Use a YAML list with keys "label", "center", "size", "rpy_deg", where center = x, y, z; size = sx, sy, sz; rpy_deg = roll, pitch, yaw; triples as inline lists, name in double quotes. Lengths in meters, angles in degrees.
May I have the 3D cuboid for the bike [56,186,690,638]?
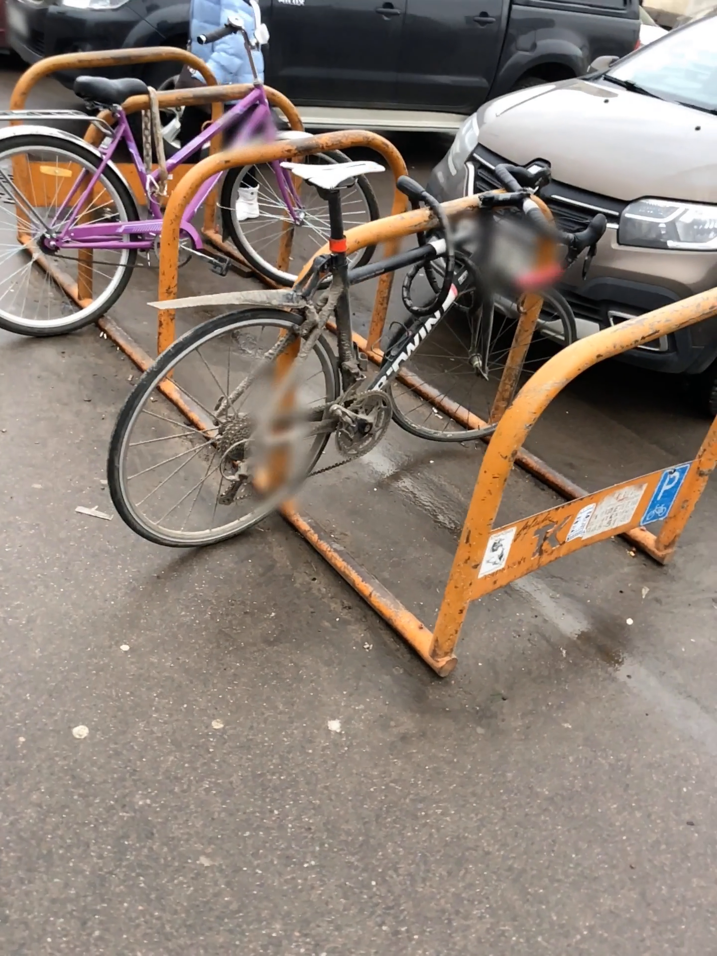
- label: "bike"
  center: [0.075, -0.278, 2.063]
  size: [1.519, 0.761, 0.491]
  rpy_deg: [-16, 41, -34]
